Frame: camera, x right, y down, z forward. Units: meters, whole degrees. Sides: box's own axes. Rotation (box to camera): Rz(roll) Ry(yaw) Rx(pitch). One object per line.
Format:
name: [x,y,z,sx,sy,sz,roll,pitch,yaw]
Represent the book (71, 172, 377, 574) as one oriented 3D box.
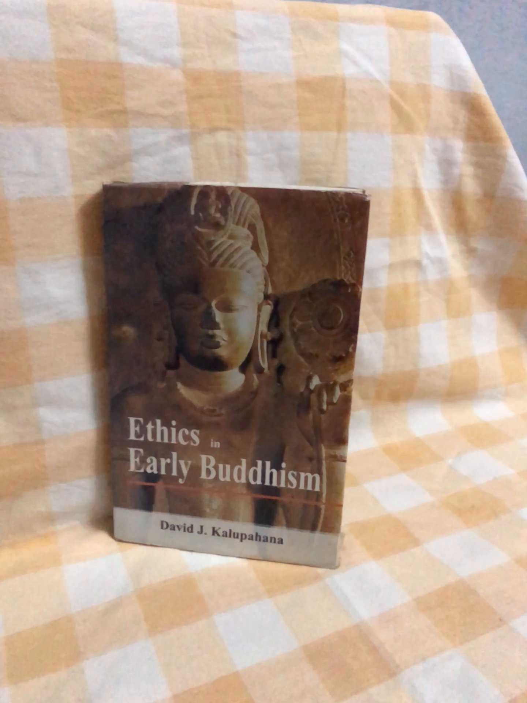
book: [-0.026,0.018,0.344,0.160,0.229,0.020,5,18,7]
